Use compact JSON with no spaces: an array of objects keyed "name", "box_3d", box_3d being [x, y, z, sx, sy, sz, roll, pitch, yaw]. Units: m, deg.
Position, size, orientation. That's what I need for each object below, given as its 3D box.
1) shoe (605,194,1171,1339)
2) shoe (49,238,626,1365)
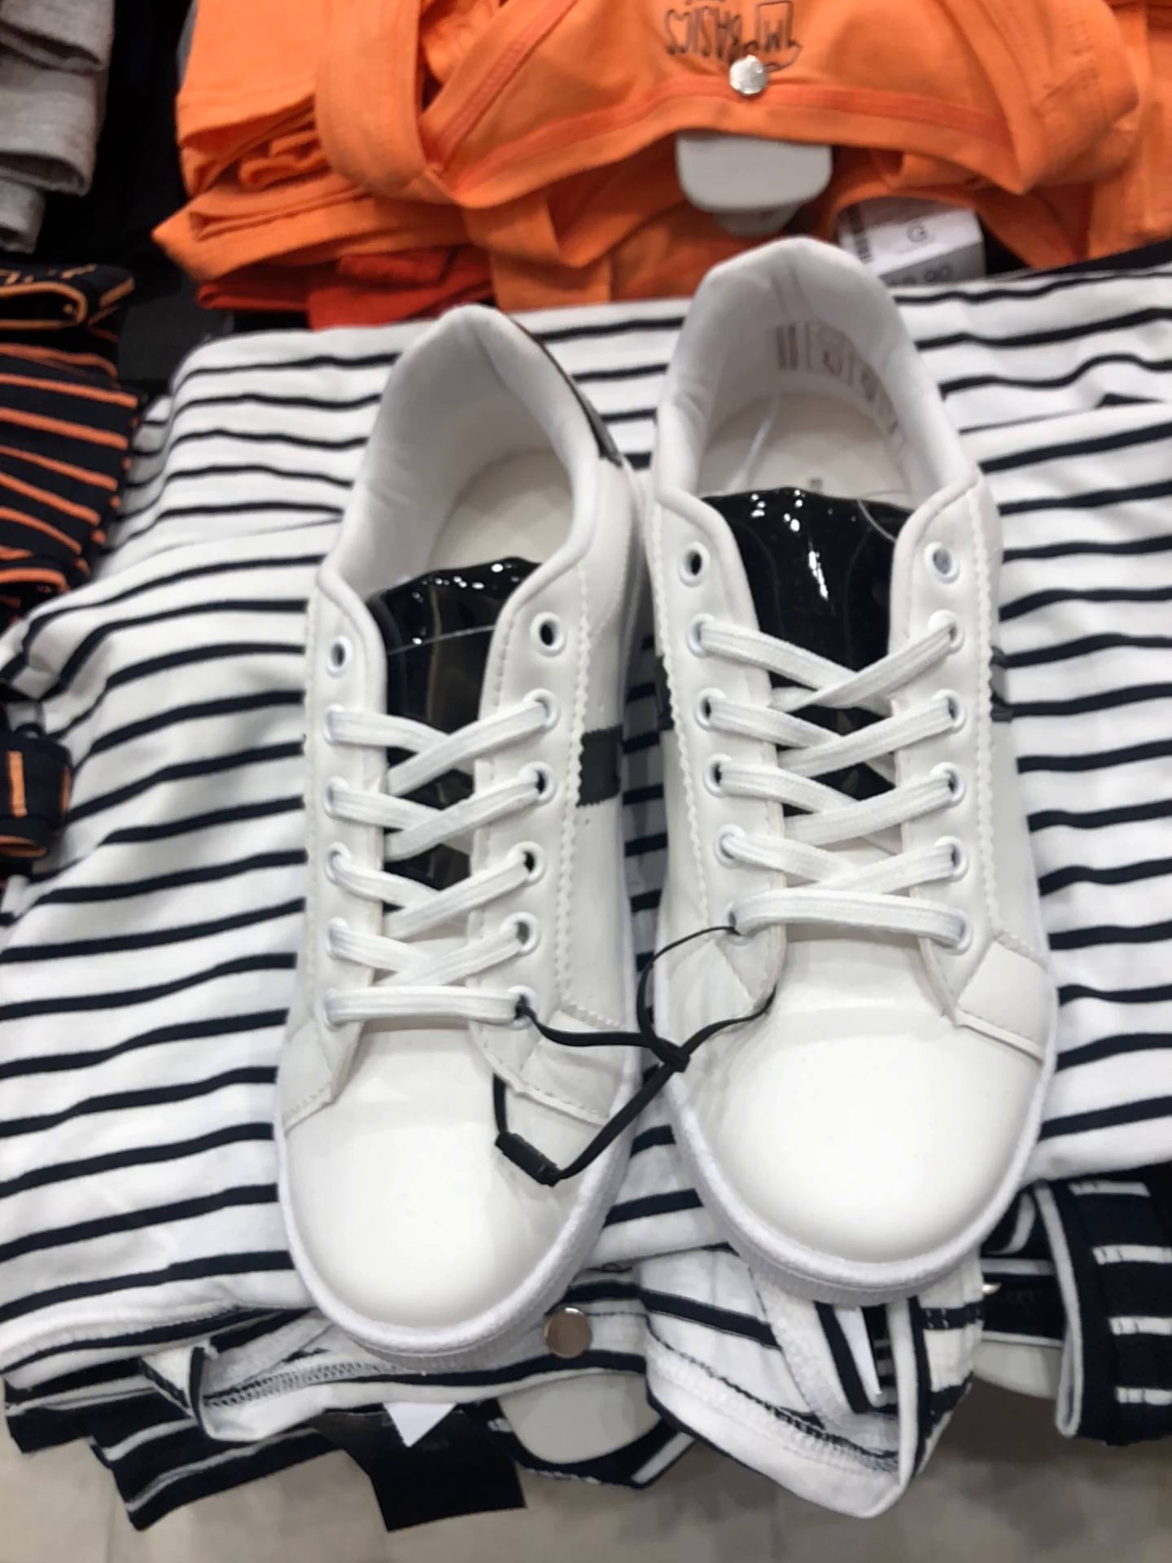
[{"name":"shoe","box_3d":[0.054,-0.003,0.266,0.090,0.080,0.210,-3,69,5]},{"name":"shoe","box_3d":[-0.036,0.002,0.271,0.080,0.080,0.210,-1,69,5]}]
